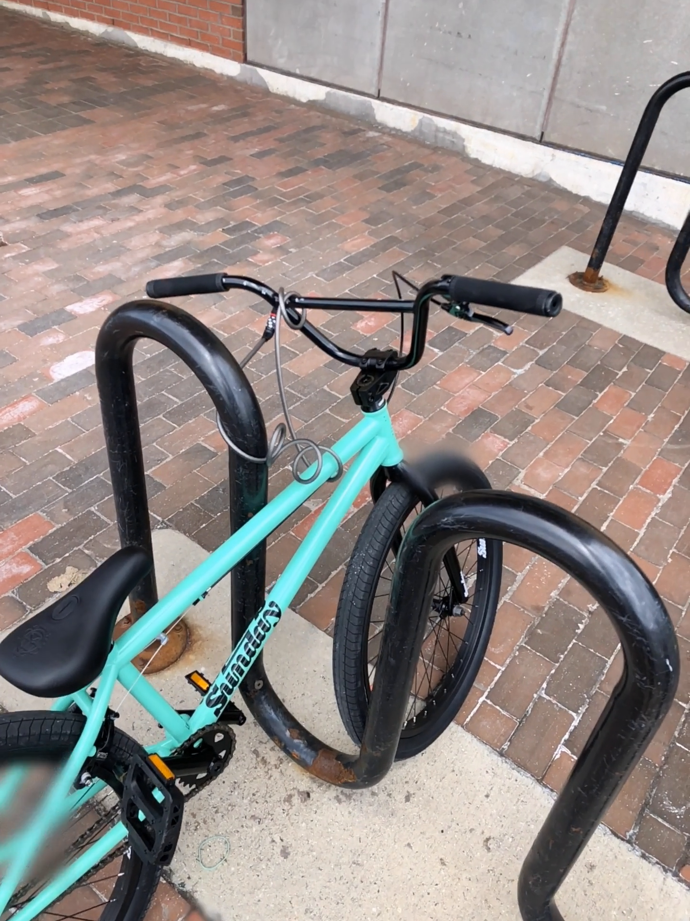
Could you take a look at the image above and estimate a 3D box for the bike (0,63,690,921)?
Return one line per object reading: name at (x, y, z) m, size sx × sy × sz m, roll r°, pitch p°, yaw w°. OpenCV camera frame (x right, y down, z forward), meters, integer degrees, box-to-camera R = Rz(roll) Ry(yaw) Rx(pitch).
bike at (-0.201, 0.214, 1.090) m, size 0.812 × 1.067 × 1.468 m, roll 33°, pitch 48°, yaw 30°
